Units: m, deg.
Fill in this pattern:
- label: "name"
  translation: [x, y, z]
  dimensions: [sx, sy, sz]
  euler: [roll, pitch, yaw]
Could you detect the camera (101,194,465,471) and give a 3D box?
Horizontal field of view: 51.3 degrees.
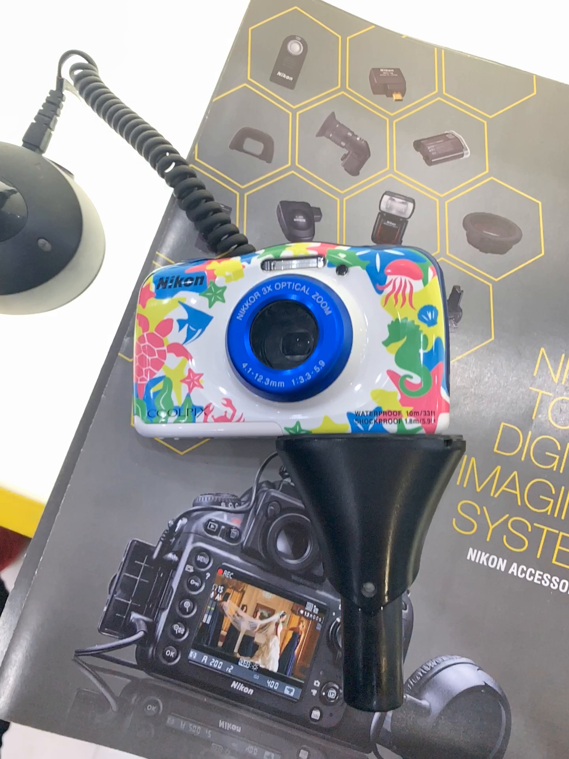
- label: "camera"
  translation: [-0.001, -0.012, 0.197]
  dimensions: [0.110, 0.030, 0.080]
  euler: [-3, 77, 13]
